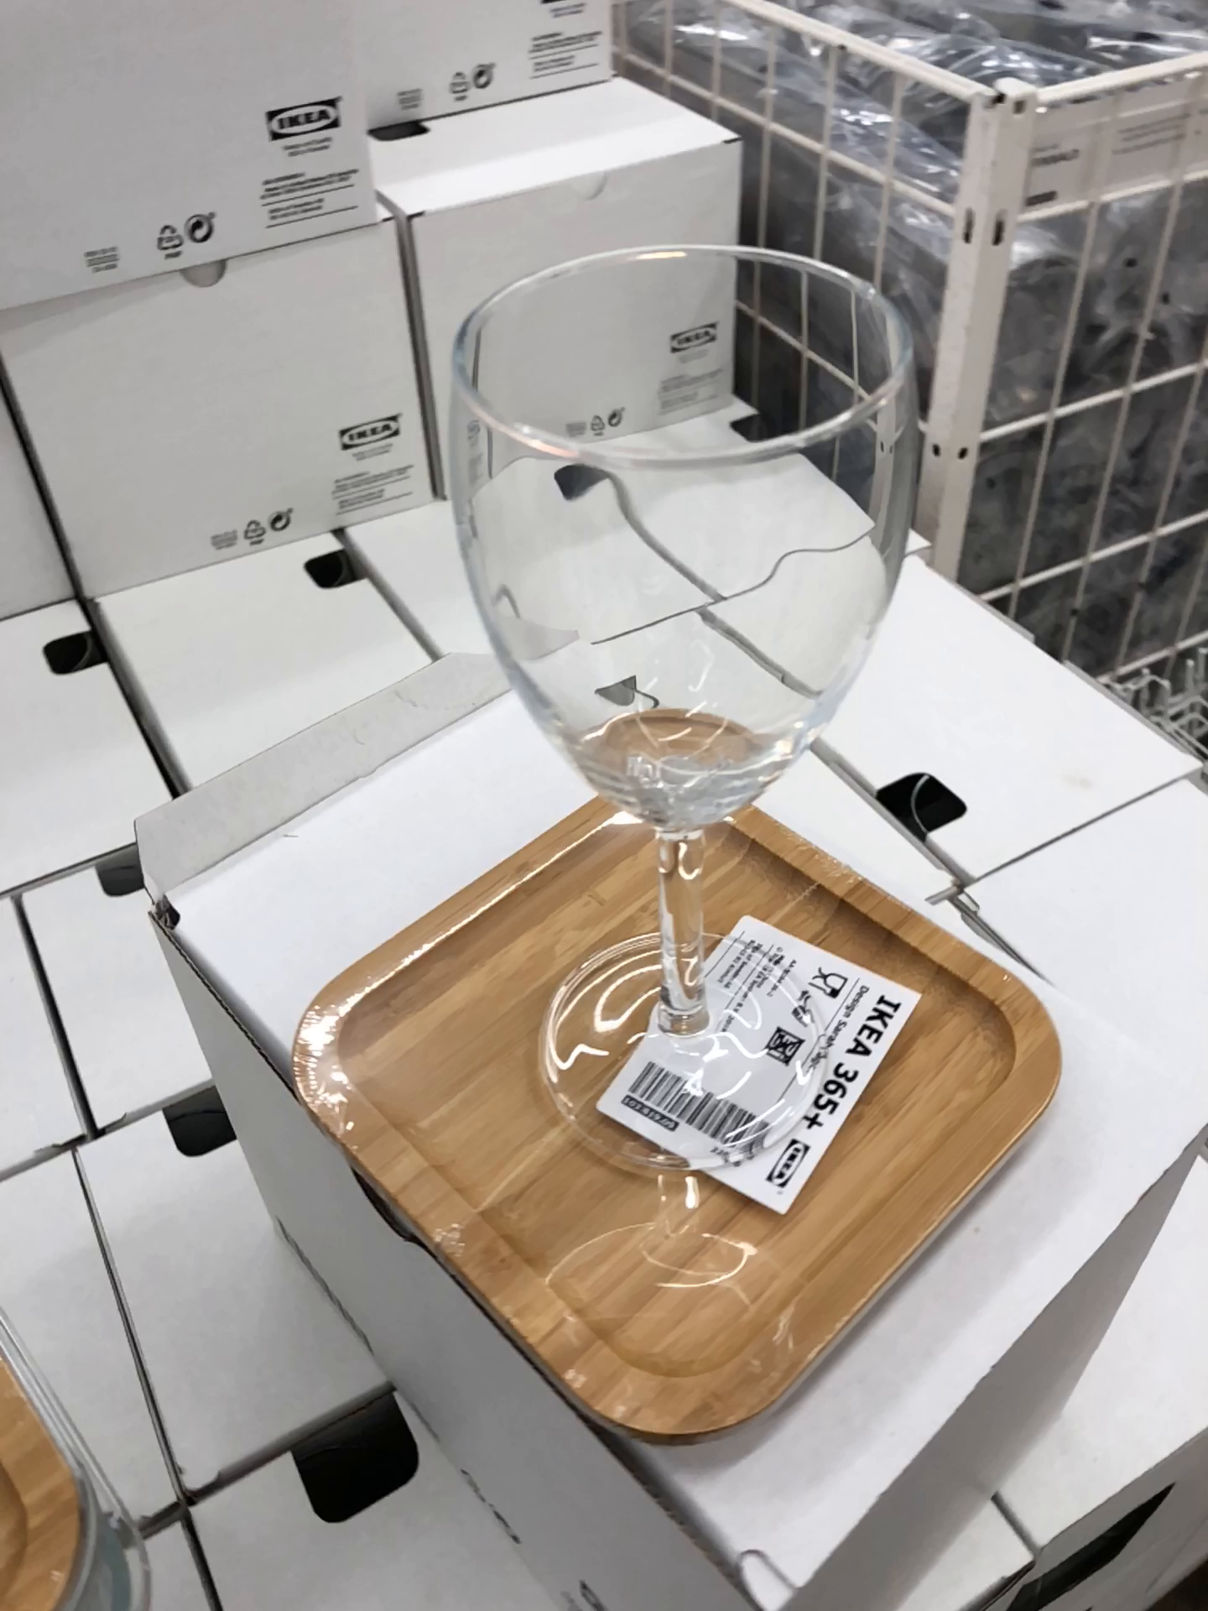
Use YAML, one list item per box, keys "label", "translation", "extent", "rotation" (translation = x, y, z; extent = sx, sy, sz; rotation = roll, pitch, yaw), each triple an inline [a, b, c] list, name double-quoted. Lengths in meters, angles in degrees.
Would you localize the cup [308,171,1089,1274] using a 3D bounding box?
- label: "cup"
  translation: [0.014, -0.007, 0.255]
  extent: [0.080, 0.179, 0.080]
  rotation: [-1, 44, 1]
